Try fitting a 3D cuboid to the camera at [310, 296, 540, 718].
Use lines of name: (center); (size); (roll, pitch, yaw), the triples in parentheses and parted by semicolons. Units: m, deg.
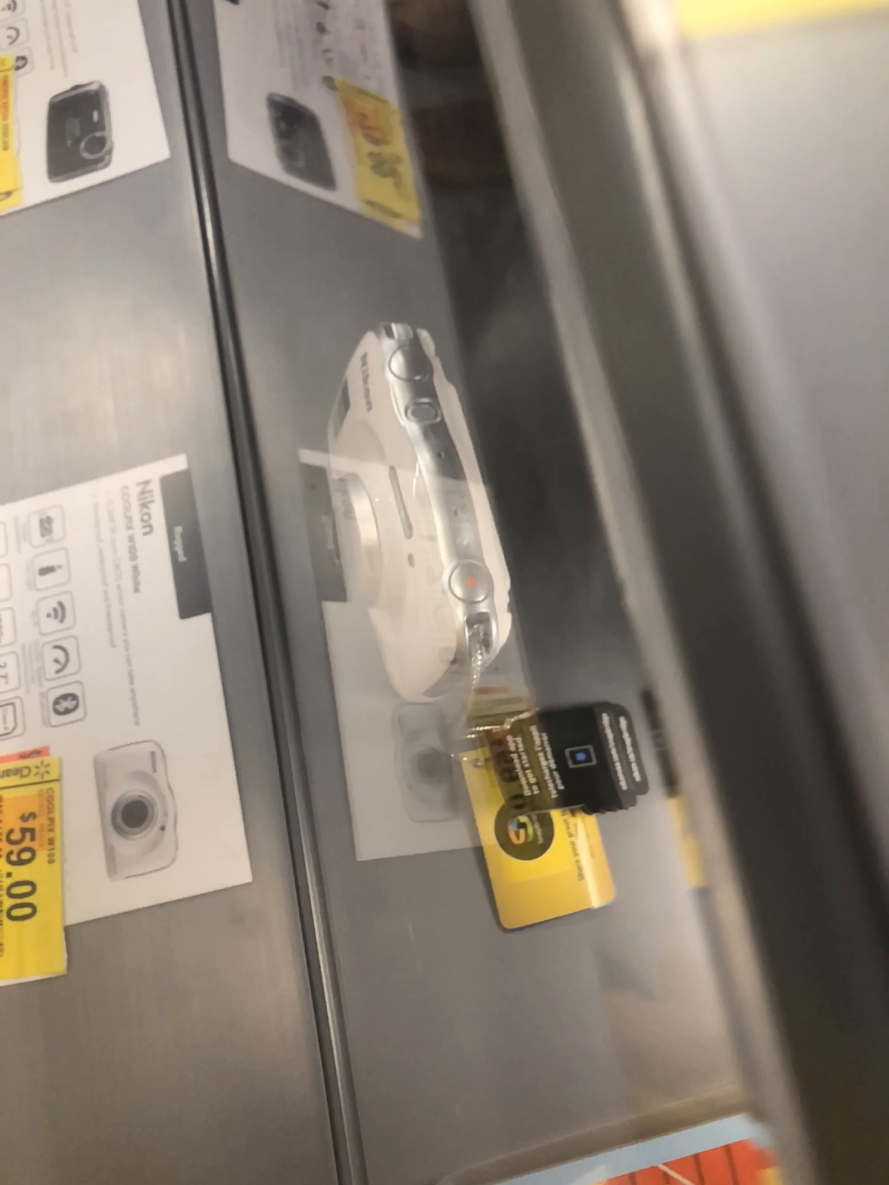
camera: (-0.010, -0.024, 0.302); (0.030, 0.060, 0.110); (-9, 74, -19)
